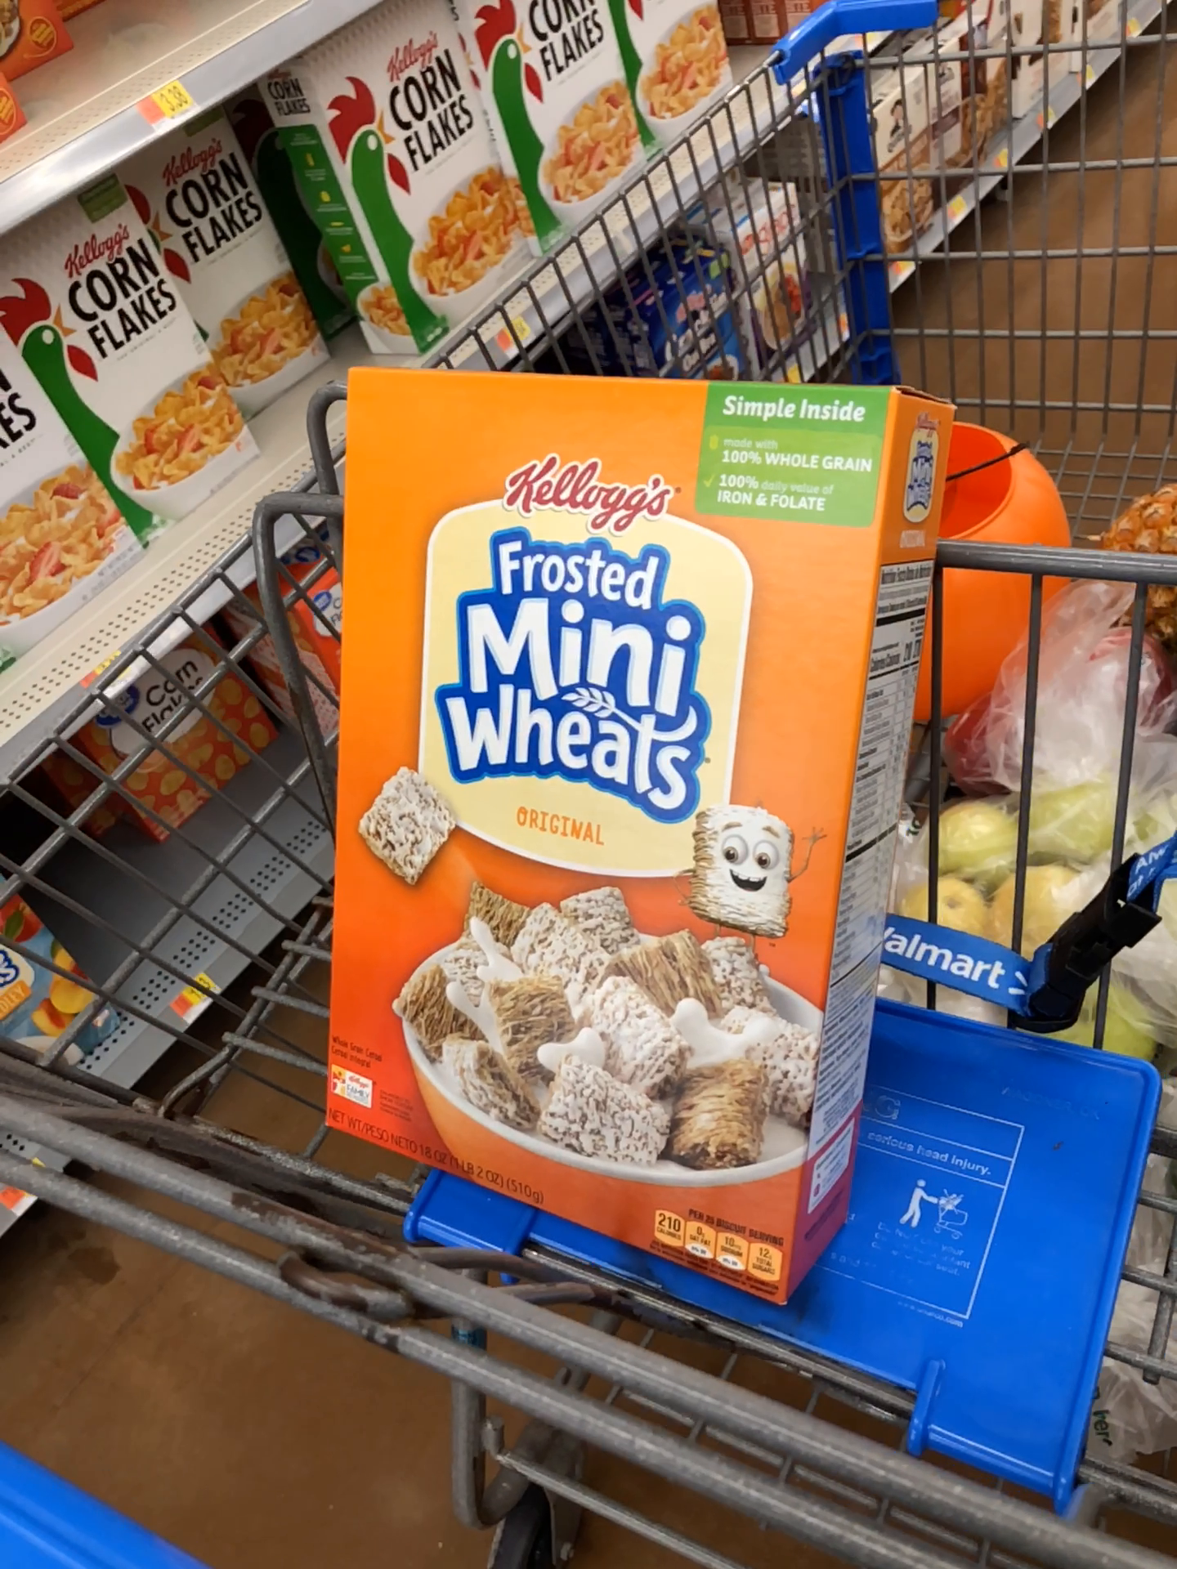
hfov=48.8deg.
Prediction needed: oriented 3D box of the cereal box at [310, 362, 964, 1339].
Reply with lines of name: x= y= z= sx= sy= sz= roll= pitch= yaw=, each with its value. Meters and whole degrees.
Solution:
cereal box: x=0.005 y=0.011 z=0.451 sx=0.190 sy=0.290 sz=0.070 roll=11 pitch=14 yaw=27
